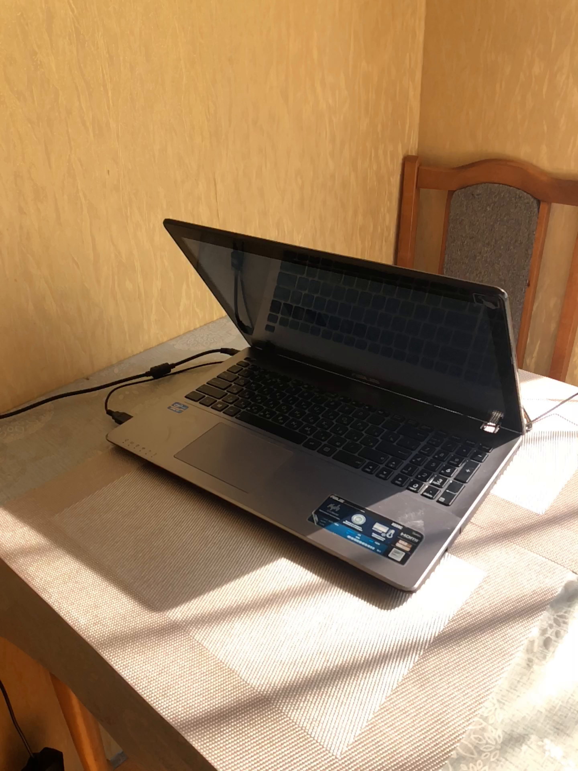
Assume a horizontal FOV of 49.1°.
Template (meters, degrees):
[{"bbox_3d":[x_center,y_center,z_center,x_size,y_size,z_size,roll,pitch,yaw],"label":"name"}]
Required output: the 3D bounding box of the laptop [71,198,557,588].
[{"bbox_3d":[0.020,-0.031,0.621,0.364,0.197,0.241,19,37,32],"label":"laptop"}]
